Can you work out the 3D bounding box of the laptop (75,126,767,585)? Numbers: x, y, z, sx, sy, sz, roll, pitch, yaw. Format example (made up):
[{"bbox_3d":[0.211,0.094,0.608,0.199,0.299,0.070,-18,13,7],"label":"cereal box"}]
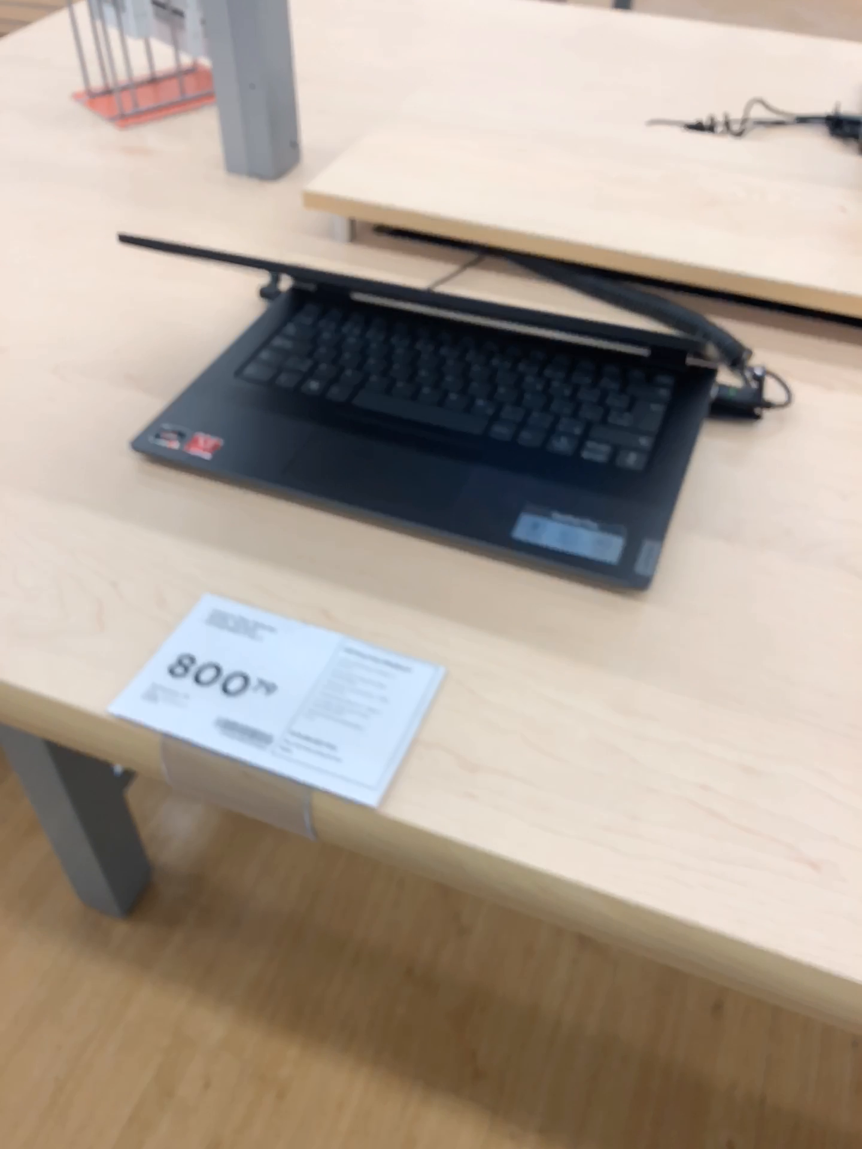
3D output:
[{"bbox_3d":[0.006,-0.153,0.594,0.332,0.121,0.229,16,46,15],"label":"laptop"}]
